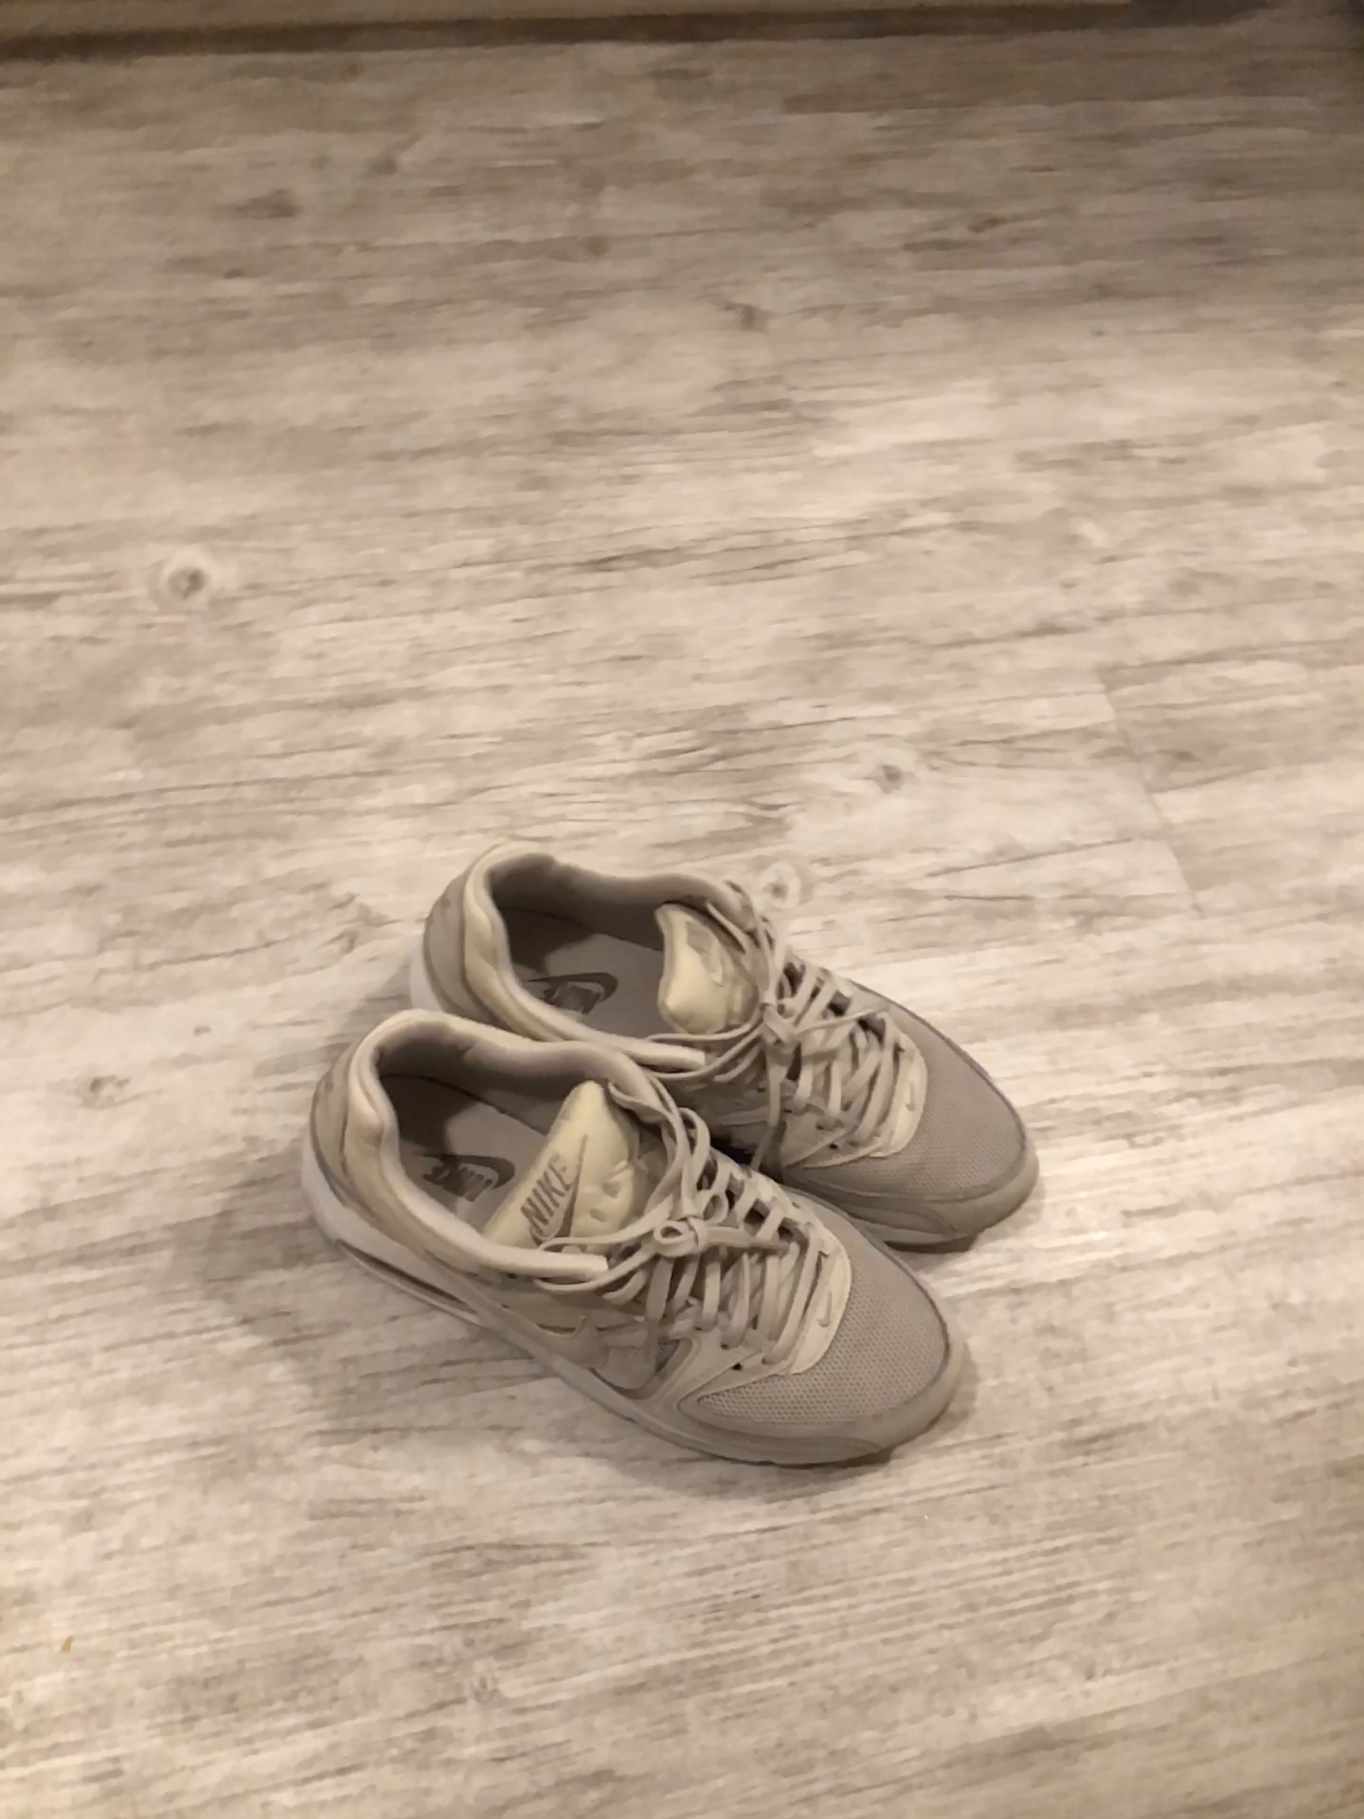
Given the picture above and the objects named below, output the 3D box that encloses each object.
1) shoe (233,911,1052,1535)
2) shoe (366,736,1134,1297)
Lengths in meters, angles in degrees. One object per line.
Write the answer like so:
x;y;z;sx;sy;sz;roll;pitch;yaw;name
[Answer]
-0.017;0.115;0.533;0.250;0.120;0.090;24;62;8;shoe
0.022;0.044;0.569;0.250;0.120;0.100;18;61;4;shoe
